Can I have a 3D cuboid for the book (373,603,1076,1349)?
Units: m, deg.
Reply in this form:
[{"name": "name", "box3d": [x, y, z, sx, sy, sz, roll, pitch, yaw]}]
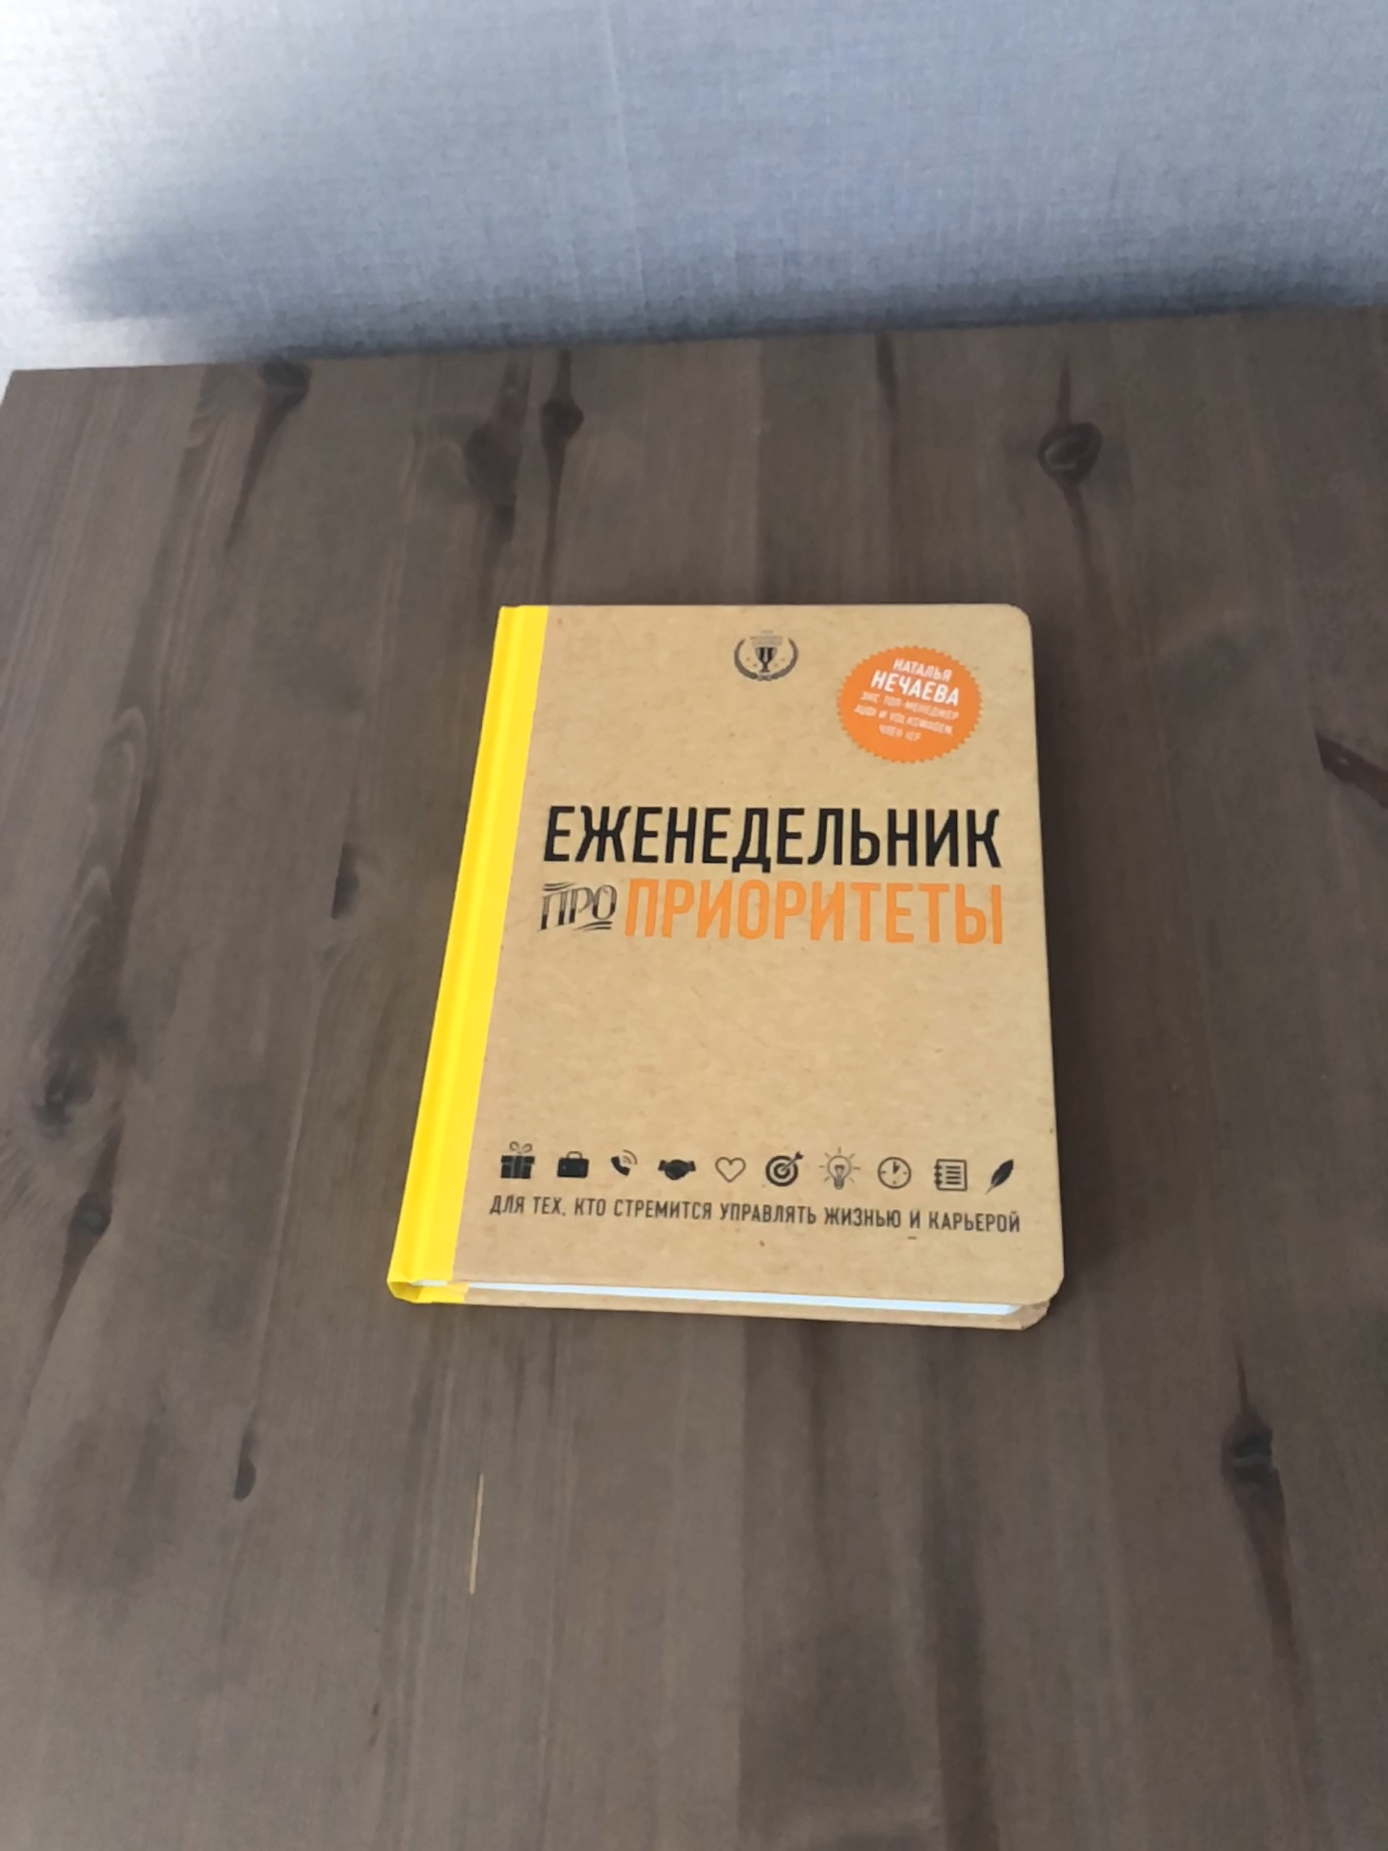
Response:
[{"name": "book", "box3d": [0.014, 0.004, 0.463, 0.180, 0.032, 0.230, 1, 62, 5]}]
